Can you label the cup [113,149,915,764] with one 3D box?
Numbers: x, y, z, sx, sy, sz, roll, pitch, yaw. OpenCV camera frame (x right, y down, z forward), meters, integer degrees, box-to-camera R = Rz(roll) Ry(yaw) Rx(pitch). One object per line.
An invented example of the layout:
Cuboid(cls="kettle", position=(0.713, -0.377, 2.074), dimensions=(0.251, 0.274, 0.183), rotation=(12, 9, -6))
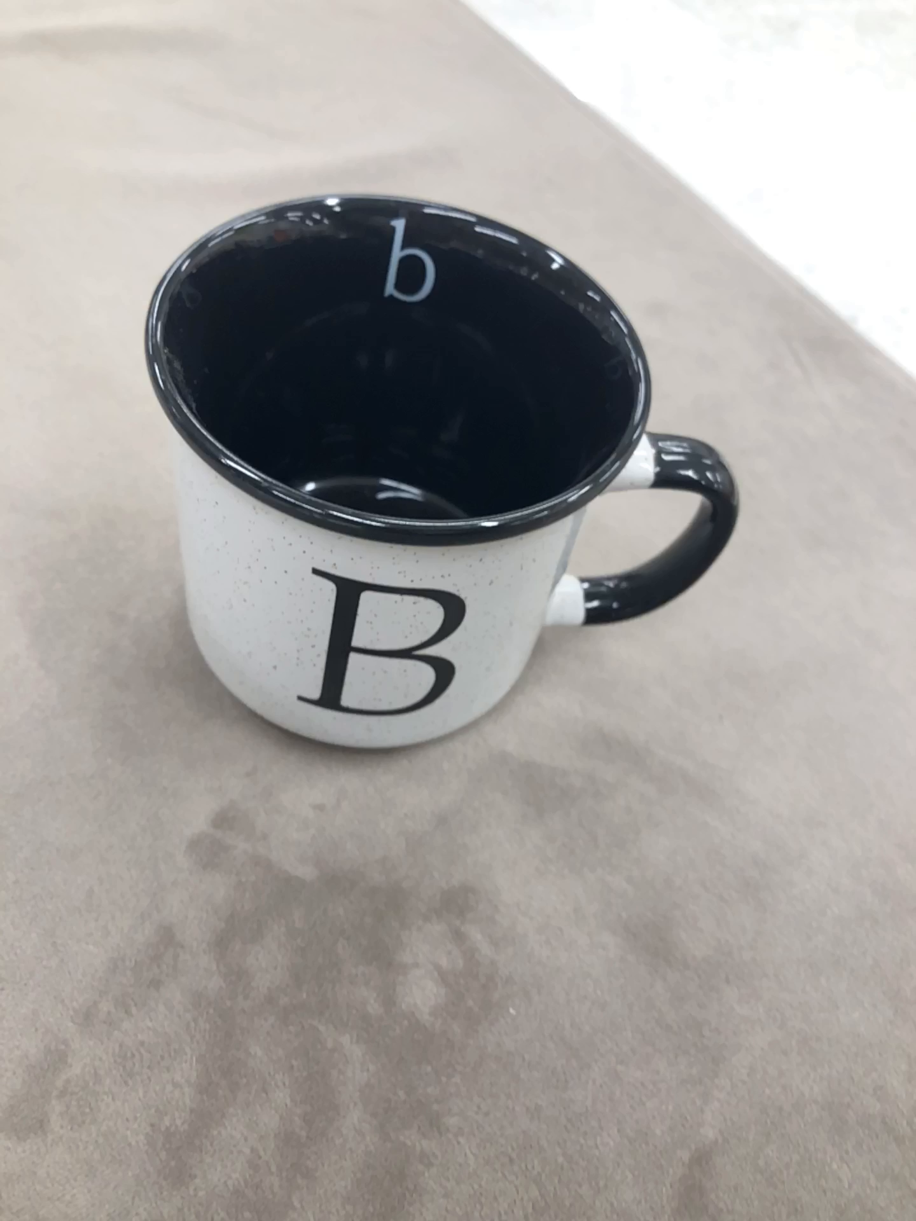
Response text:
Cuboid(cls="cup", position=(0.008, -0.032, 0.246), dimensions=(0.150, 0.090, 0.101), rotation=(4, 53, -9))
